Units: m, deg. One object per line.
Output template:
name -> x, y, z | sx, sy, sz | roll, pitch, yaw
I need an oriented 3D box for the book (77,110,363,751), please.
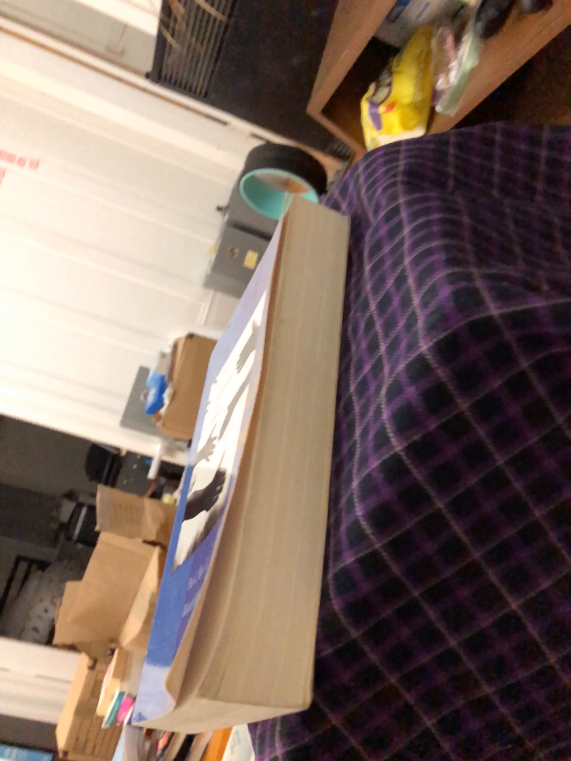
book -> -0.033, 0.031, 0.315 | 0.200, 0.040, 0.260 | 128, 156, -53
